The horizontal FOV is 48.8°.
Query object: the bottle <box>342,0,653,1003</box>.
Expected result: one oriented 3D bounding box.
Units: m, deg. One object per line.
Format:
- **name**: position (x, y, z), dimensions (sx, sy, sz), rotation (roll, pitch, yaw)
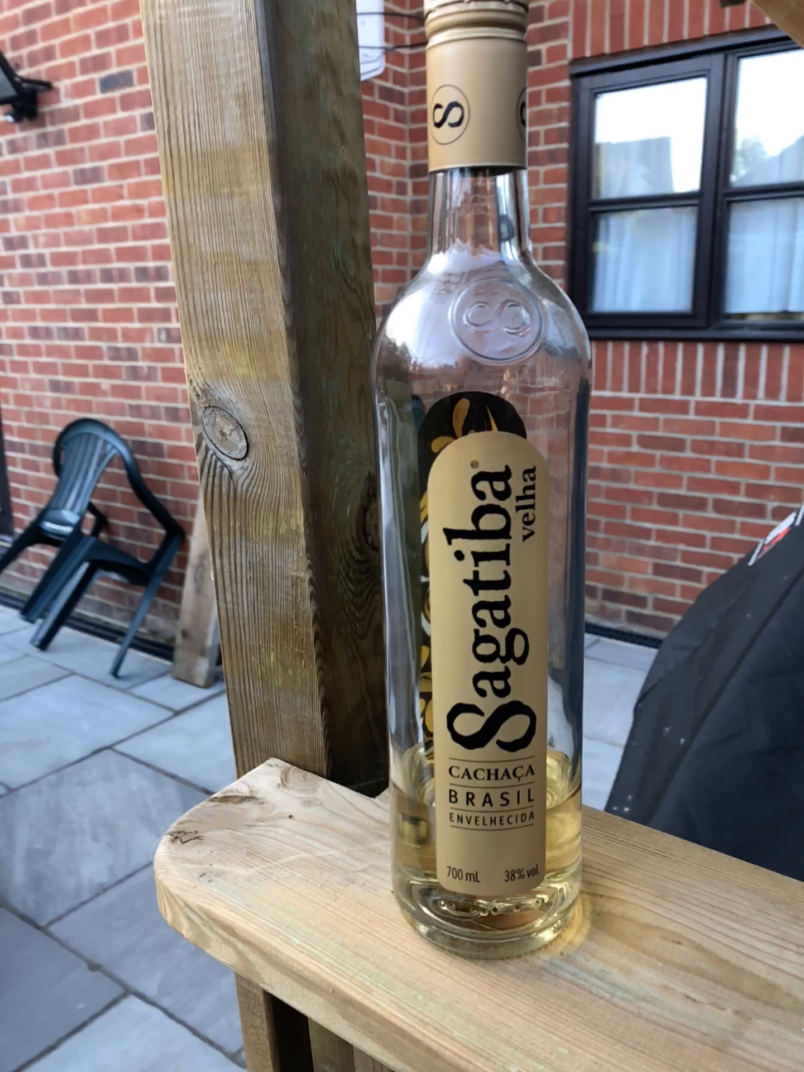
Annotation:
- **bottle**: position (0.029, -0.009, 0.296), dimensions (0.080, 0.329, 0.060), rotation (0, 13, 5)
